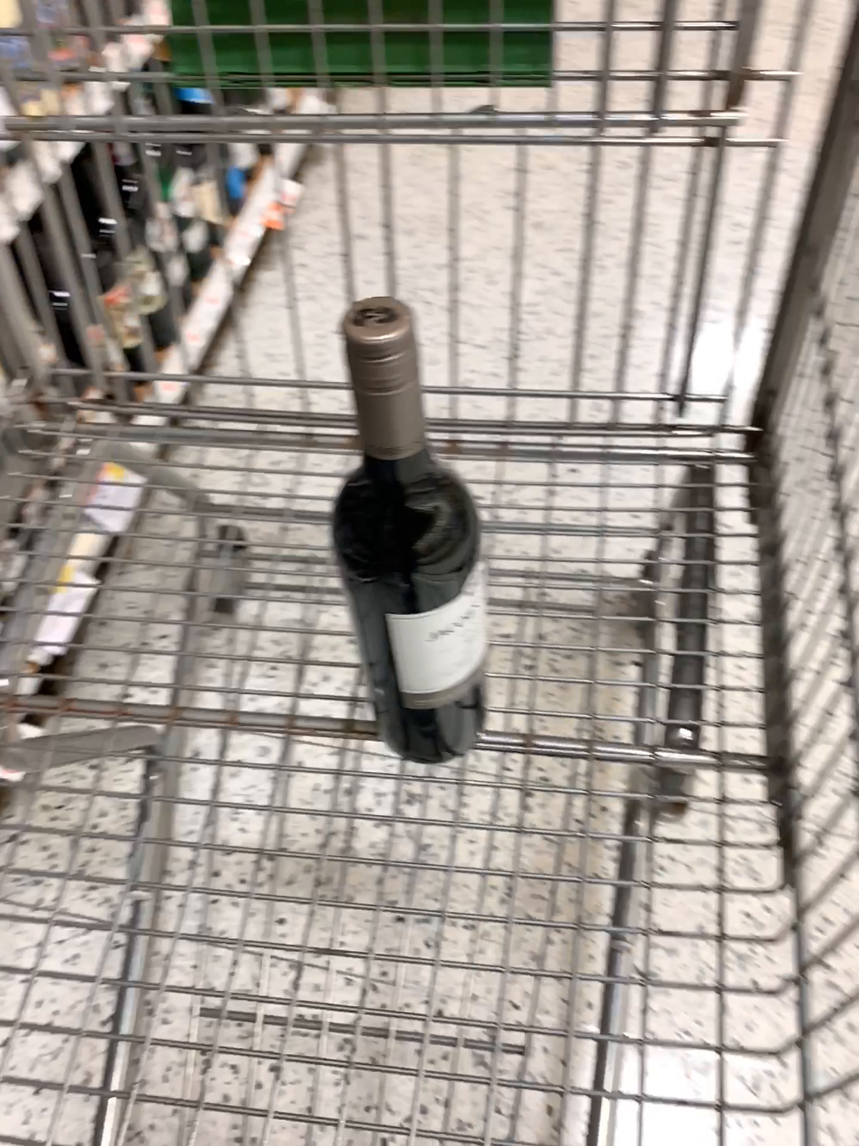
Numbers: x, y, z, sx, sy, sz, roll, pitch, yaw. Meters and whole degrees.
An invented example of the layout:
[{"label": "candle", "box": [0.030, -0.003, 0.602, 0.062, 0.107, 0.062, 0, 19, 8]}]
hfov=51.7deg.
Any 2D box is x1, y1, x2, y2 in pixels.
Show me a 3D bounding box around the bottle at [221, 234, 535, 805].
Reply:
[{"label": "bottle", "box": [-0.012, 0.001, 0.461, 0.090, 0.317, 0.091, -1, 52, 2]}]
